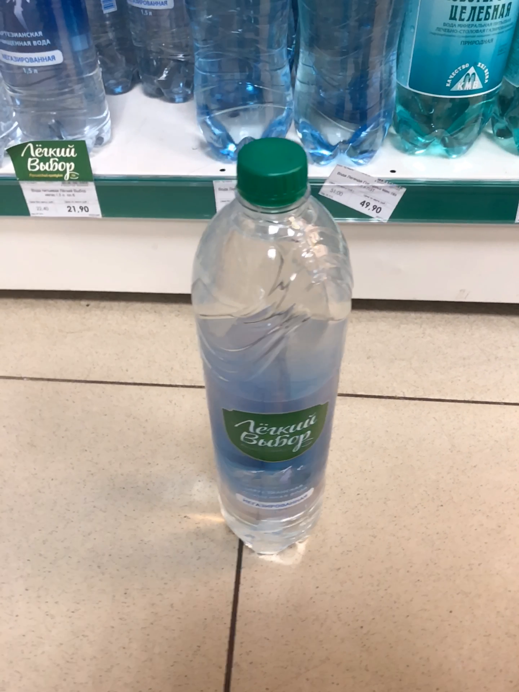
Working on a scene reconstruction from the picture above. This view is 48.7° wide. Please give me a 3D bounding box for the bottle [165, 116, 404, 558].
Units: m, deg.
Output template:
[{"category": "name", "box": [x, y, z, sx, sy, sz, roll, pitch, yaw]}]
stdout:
[{"category": "bottle", "box": [0.009, 0.026, 0.353, 0.089, 0.299, 0.086, -1, 48, 1]}]
